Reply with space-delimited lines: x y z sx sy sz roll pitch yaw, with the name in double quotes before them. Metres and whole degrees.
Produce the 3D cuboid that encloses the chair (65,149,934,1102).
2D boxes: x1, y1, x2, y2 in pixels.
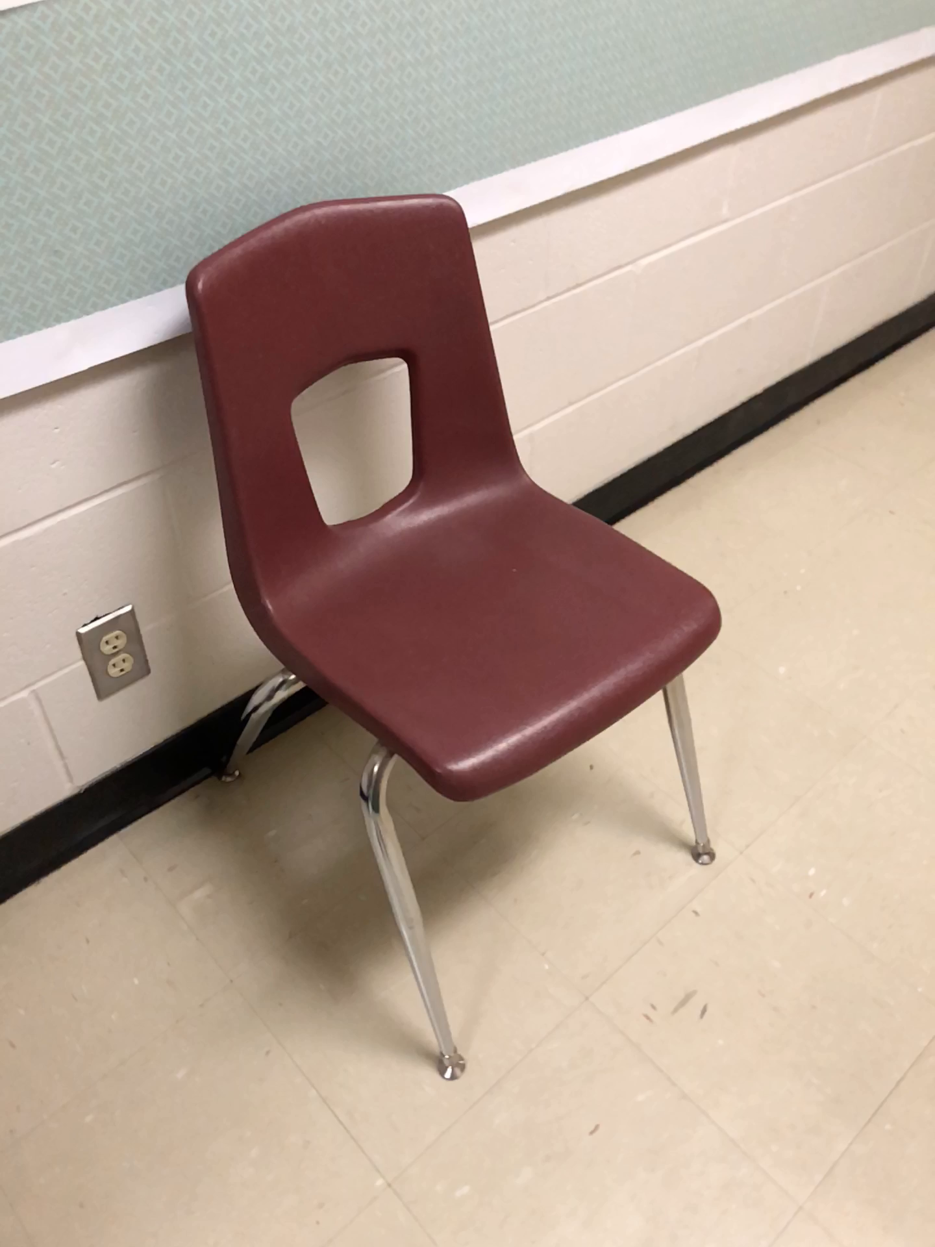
"chair" 0.014 -0.012 1.104 0.505 0.707 0.555 -30 52 -28
